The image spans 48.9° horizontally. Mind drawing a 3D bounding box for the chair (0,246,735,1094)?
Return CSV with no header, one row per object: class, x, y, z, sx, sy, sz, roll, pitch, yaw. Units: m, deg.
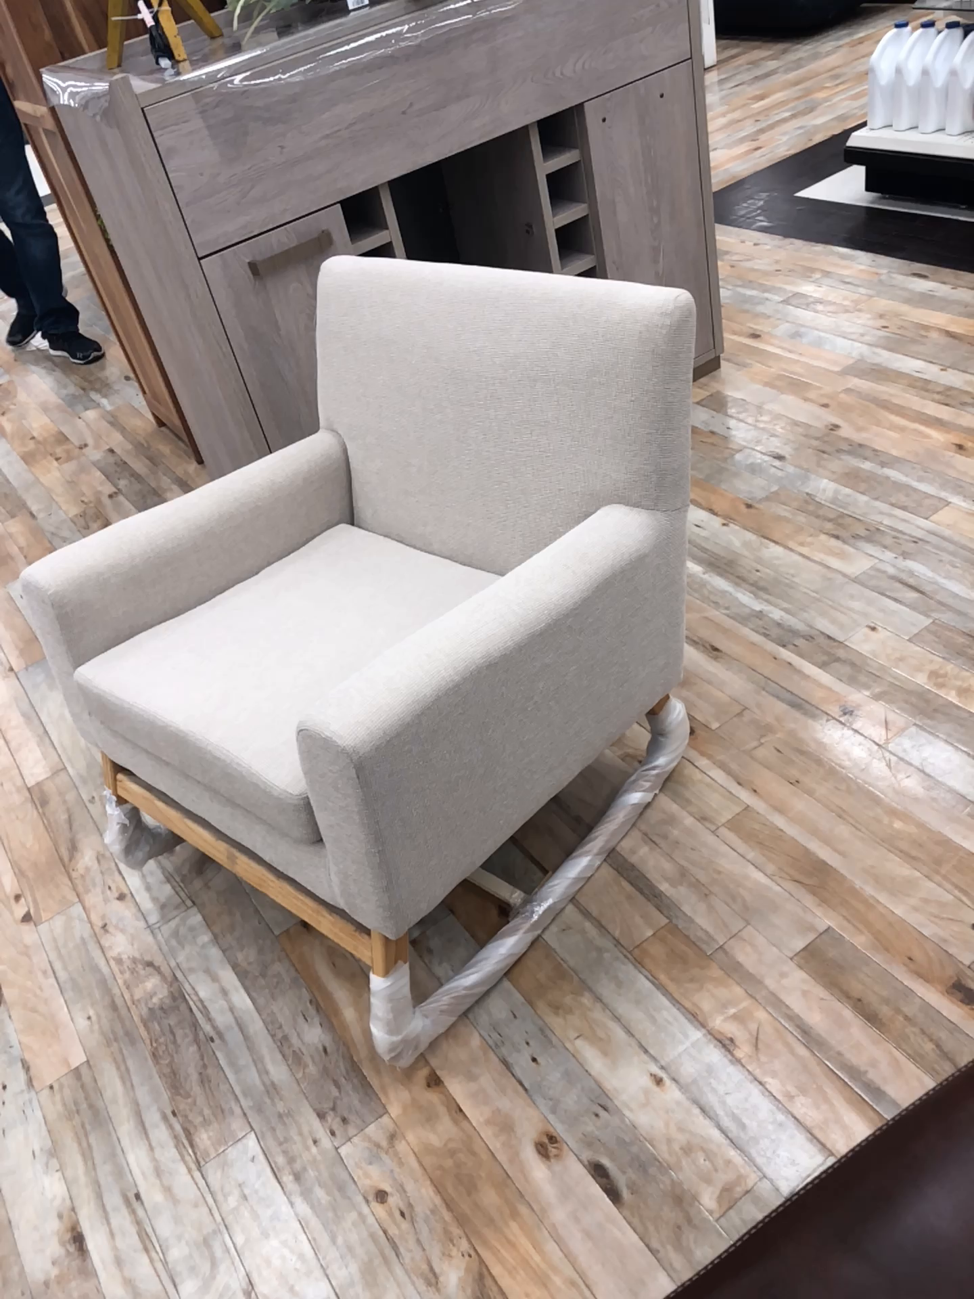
chair,-0.182,-0.047,1.493,0.702,0.707,0.741,22,51,38
